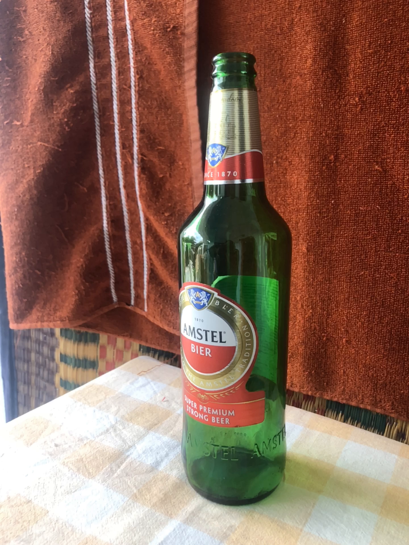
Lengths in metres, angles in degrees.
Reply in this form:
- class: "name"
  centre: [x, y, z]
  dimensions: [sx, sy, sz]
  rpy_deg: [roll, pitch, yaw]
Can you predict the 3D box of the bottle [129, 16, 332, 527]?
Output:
- class: "bottle"
  centre: [0.015, 0.004, 0.286]
  dimensions: [0.080, 0.269, 0.080]
  rpy_deg: [0, 15, 0]
